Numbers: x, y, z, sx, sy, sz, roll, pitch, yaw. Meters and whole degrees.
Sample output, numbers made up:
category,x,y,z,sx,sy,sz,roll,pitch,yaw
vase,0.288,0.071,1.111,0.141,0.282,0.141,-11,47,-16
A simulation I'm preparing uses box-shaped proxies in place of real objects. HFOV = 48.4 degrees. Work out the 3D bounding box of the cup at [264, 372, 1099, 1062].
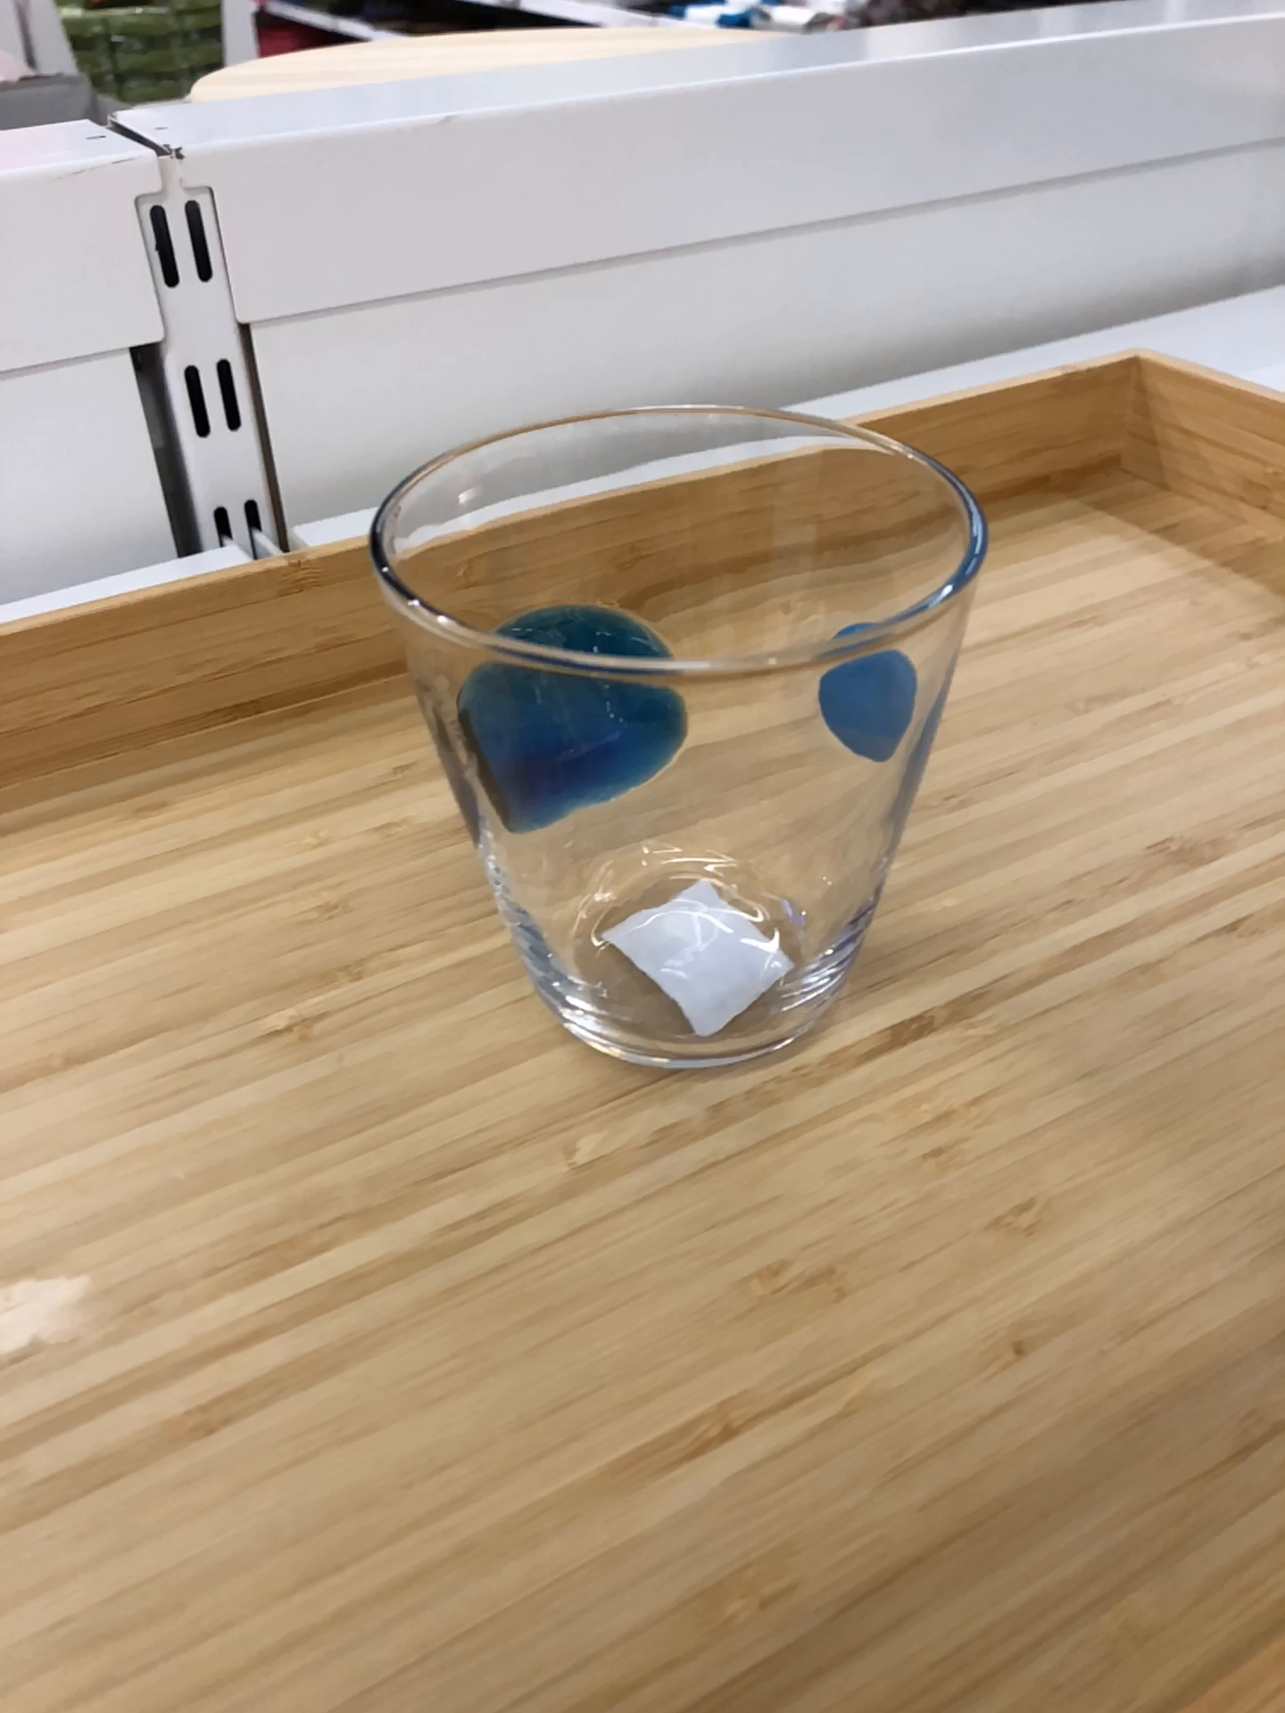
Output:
category,x,y,z,sx,sy,sz,roll,pitch,yaw
cup,0.006,-0.027,0.232,0.100,0.070,0.100,-1,36,1

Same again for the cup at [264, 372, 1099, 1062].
category,x,y,z,sx,sy,sz,roll,pitch,yaw
cup,0.006,-0.027,0.232,0.100,0.070,0.100,-1,36,1
